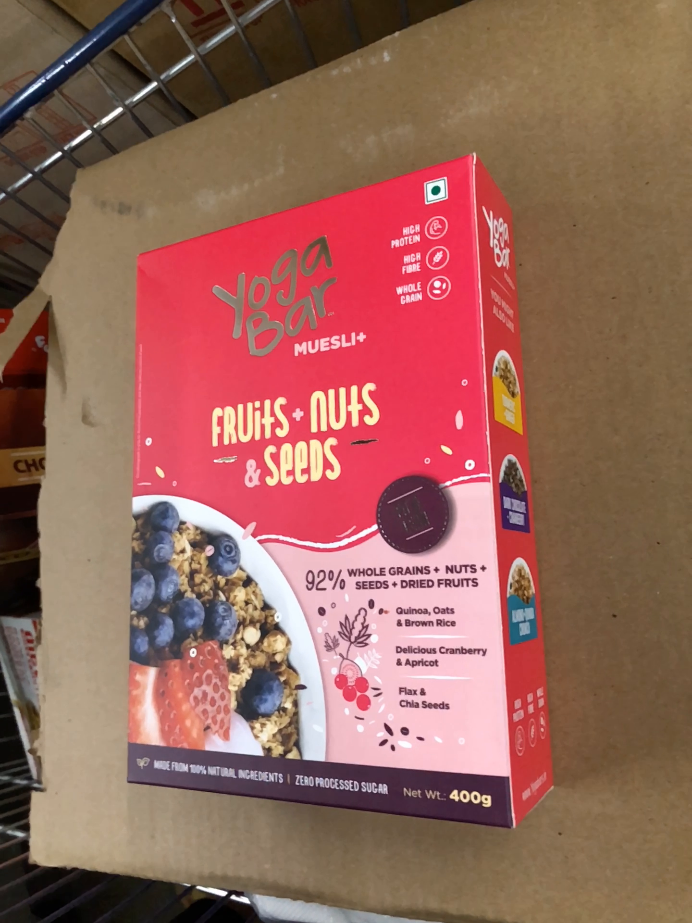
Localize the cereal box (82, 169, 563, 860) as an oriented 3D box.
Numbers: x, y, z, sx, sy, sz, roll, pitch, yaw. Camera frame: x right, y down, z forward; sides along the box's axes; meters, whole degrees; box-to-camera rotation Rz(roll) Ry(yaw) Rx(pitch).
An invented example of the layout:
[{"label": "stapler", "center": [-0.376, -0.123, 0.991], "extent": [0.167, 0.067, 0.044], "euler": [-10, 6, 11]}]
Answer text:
[{"label": "cereal box", "center": [-0.016, 0.020, 0.298], "extent": [0.170, 0.060, 0.210], "euler": [-6, 82, 26]}]
